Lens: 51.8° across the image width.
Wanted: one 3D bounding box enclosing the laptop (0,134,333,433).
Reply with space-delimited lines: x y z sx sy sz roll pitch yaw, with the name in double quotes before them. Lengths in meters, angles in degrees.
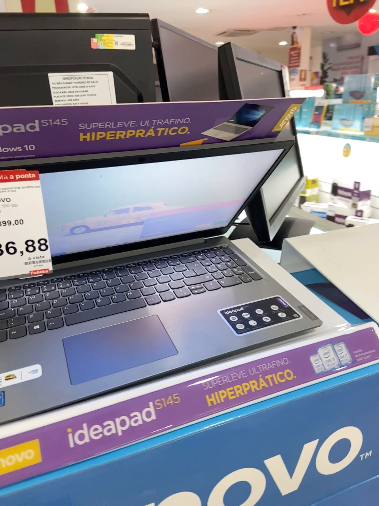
"laptop" -0.069 -0.017 0.441 0.357 0.161 0.245 -10 27 -21
